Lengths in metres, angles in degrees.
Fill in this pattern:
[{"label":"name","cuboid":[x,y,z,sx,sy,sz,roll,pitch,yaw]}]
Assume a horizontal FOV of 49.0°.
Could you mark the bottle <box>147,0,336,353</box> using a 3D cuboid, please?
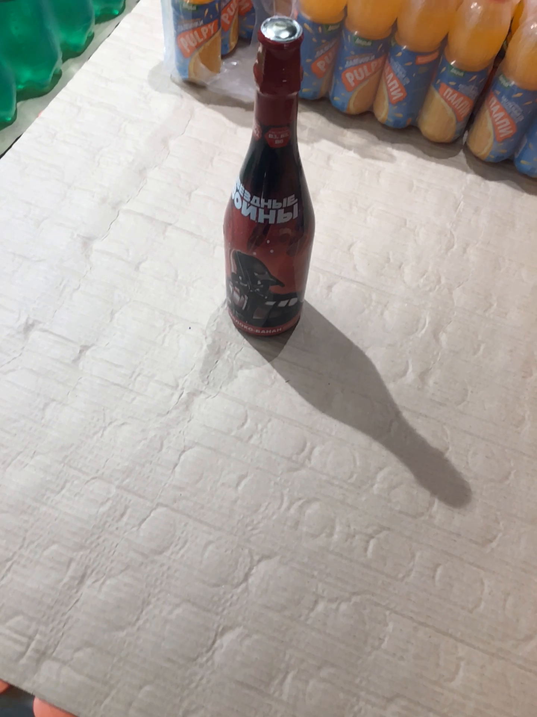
[{"label":"bottle","cuboid":[-0.022,-0.119,0.476,0.086,0.279,0.085,1,62,-3]}]
